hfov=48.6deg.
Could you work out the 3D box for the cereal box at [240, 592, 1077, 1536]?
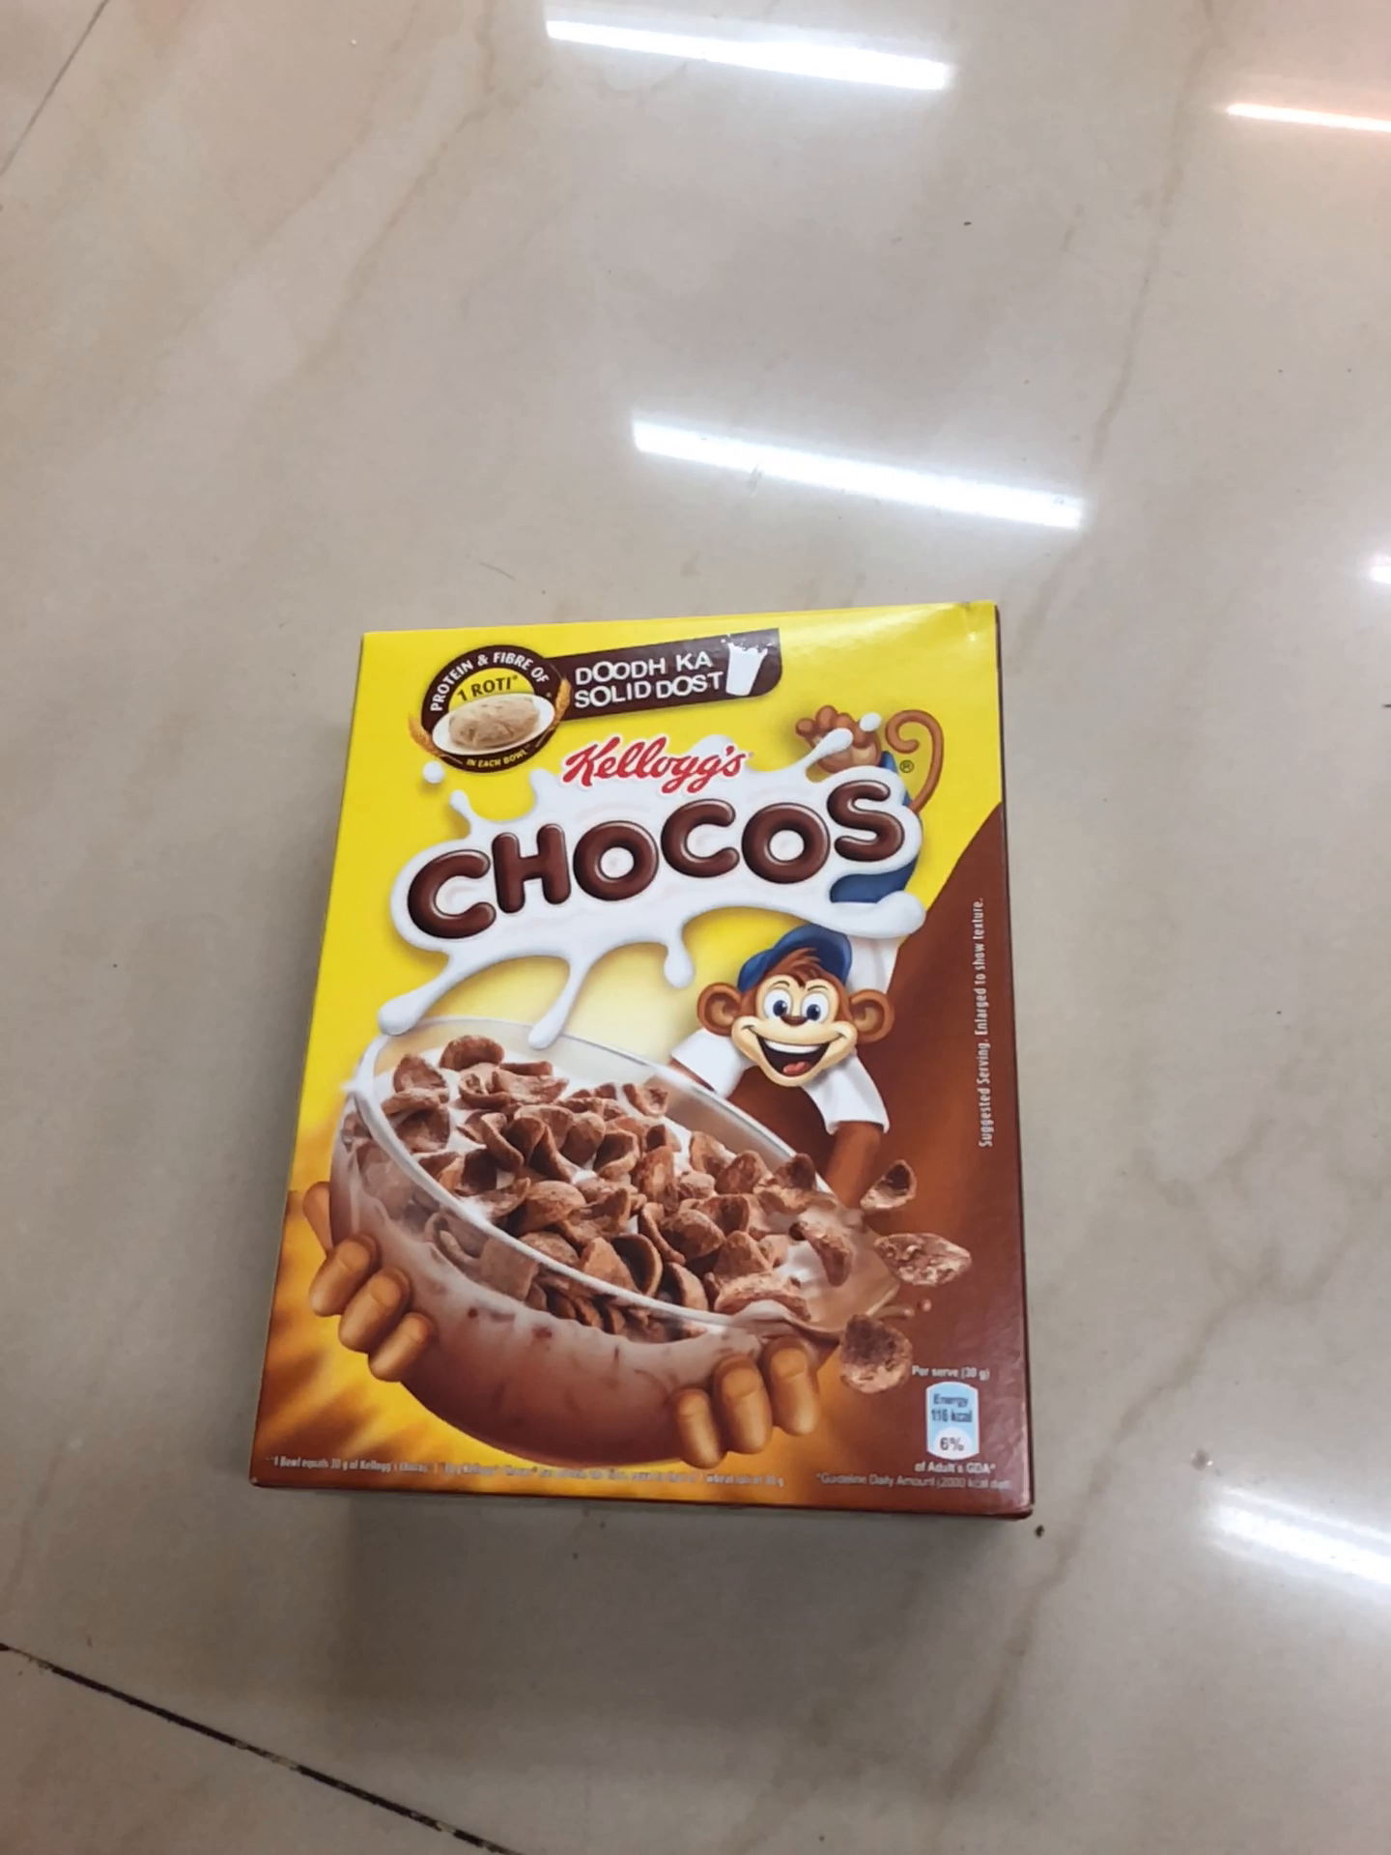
[{"bbox_3d":[-0.002,0.023,0.305,0.140,0.050,0.170,0,72,8],"label":"cereal box"}]
